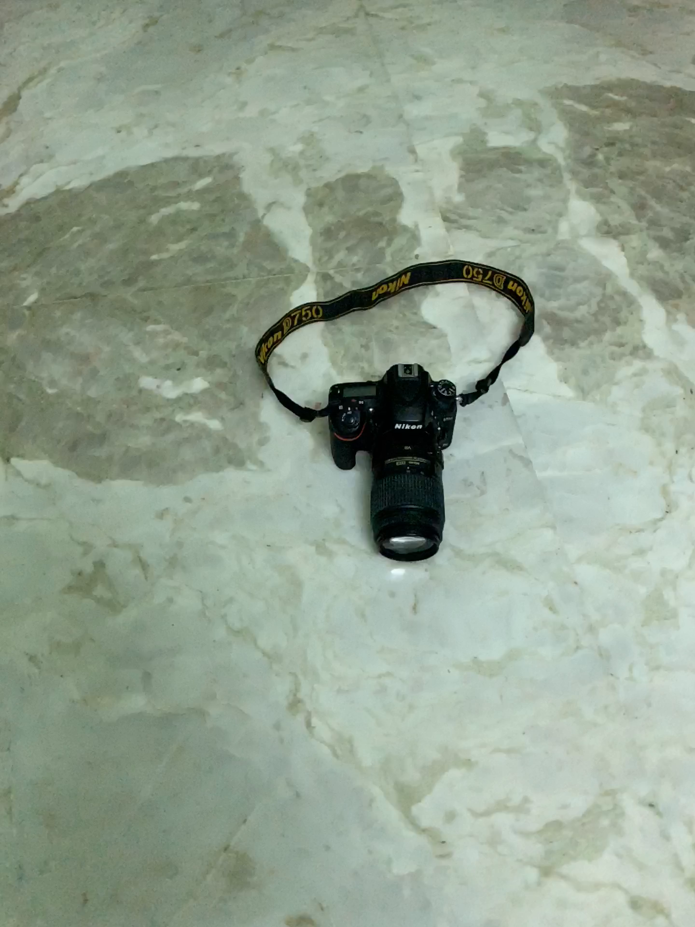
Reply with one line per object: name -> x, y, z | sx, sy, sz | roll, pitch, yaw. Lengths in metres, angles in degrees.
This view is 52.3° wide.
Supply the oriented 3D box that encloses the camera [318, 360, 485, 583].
camera -> 0.053, 0.007, 0.743 | 0.150, 0.120, 0.201 | 0, 54, 3
